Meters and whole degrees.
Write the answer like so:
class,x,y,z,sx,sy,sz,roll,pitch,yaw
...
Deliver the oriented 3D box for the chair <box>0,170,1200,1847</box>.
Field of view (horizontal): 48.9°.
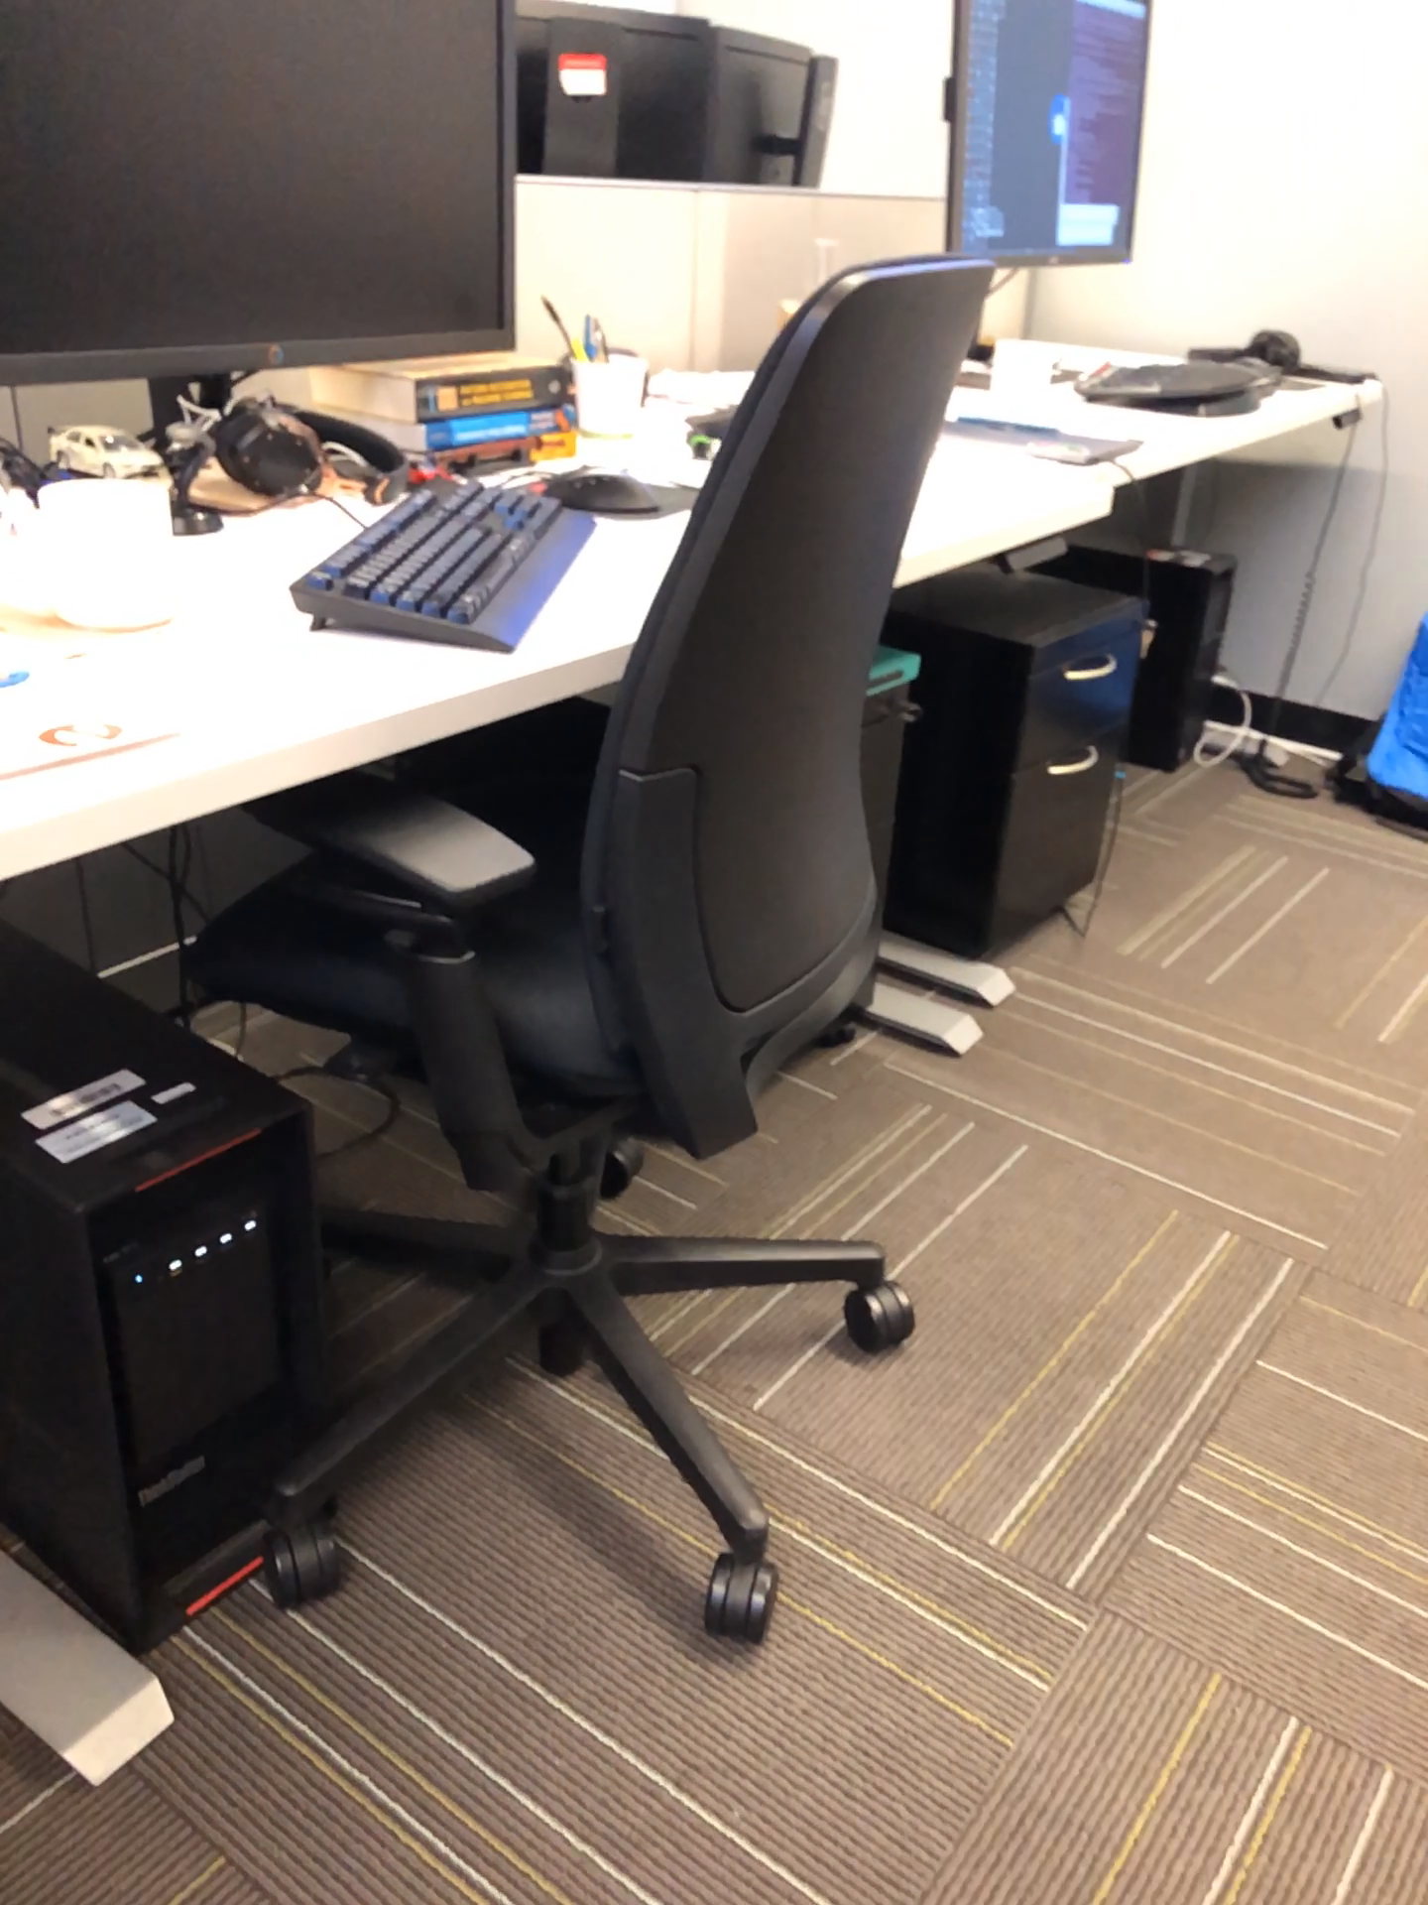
class,x,y,z,sx,sy,sz,roll,pitch,yaw
chair,-0.123,-0.046,1.326,0.721,1.044,0.713,15,29,22
